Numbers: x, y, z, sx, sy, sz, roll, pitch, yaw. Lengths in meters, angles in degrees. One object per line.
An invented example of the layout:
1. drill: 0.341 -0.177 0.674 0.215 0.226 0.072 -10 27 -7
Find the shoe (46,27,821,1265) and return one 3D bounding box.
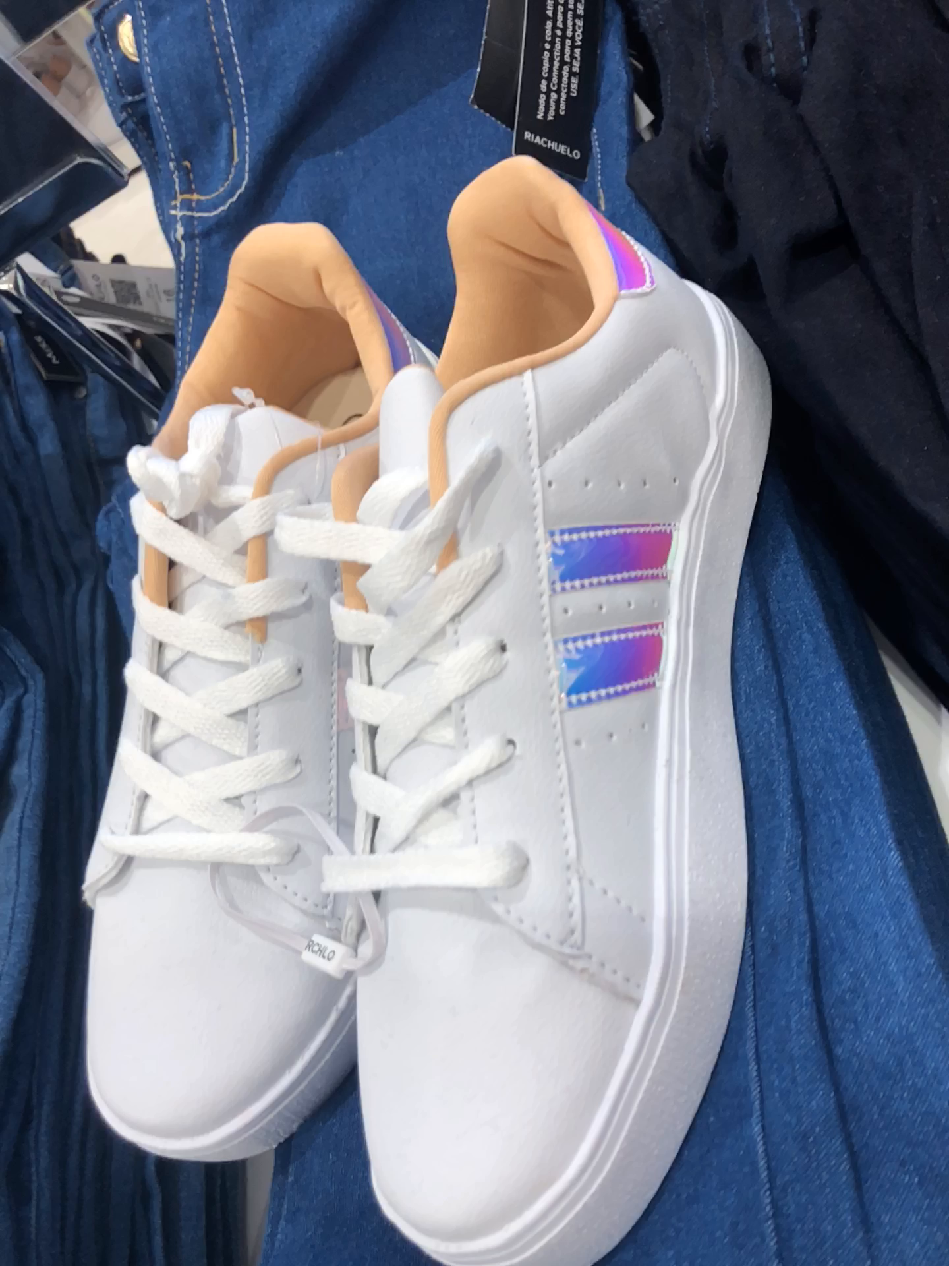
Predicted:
1. shoe: 0.013 0.007 0.253 0.090 0.109 0.261 -10 59 38

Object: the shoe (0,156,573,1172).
1. shoe: -0.045 0.004 0.310 0.090 0.109 0.261 0 64 22
